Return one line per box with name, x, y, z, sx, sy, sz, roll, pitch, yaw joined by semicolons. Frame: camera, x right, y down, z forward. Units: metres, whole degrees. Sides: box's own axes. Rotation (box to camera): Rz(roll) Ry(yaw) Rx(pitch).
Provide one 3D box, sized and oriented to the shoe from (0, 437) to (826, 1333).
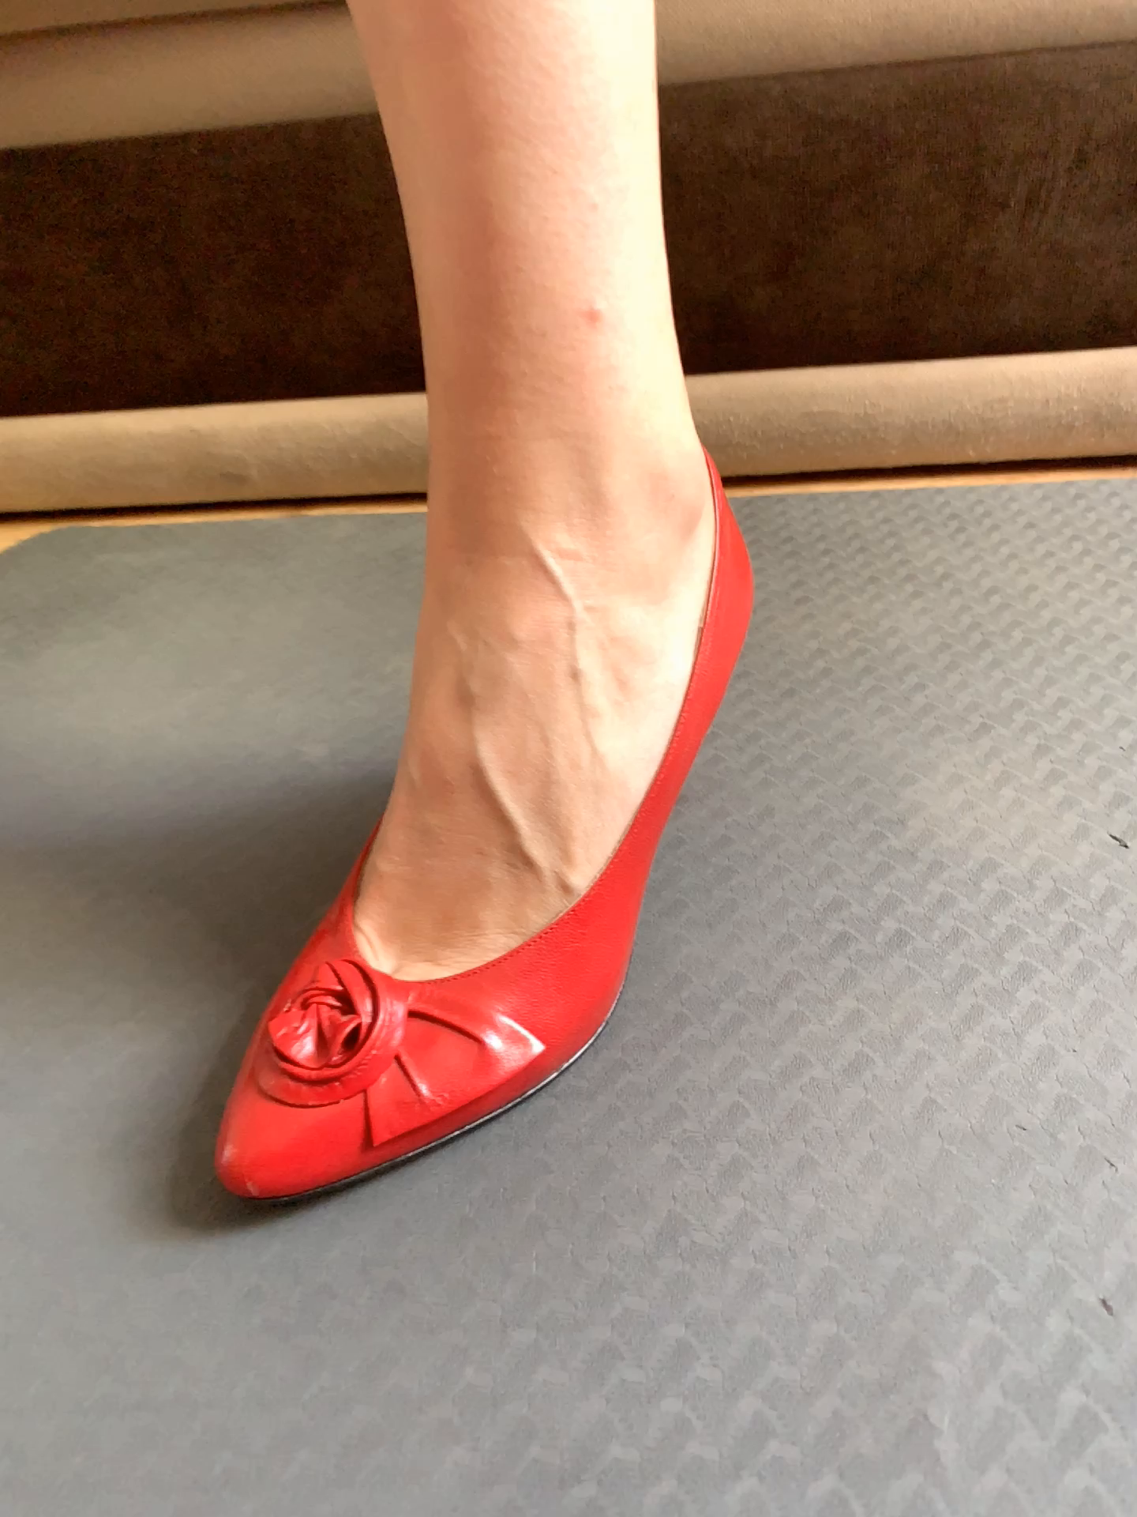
shoe;-0.015;0.010;0.303;0.080;0.109;0.211;16;40;29
